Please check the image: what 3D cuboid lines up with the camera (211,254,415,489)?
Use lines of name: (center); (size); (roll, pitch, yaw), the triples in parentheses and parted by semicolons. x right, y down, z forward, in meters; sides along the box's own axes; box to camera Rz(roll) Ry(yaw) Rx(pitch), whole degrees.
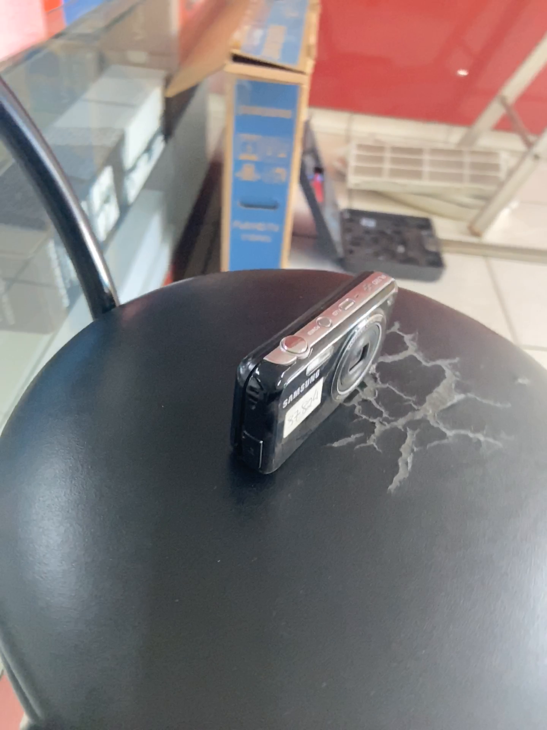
camera: (0.019, -0.002, 0.244); (0.030, 0.050, 0.100); (30, 47, 24)
